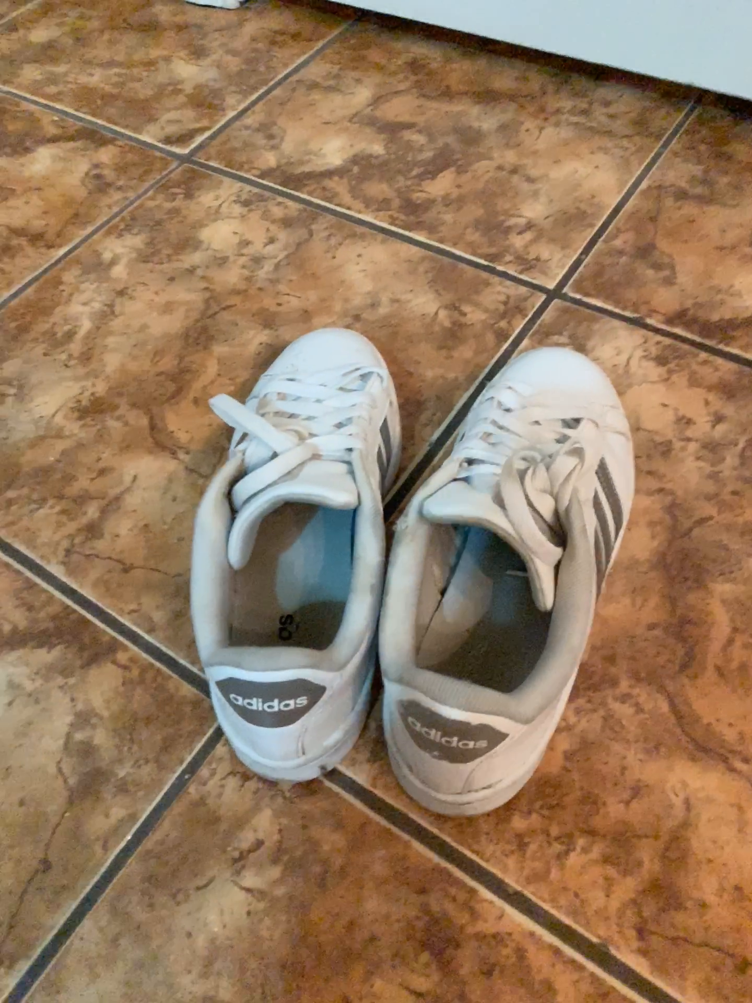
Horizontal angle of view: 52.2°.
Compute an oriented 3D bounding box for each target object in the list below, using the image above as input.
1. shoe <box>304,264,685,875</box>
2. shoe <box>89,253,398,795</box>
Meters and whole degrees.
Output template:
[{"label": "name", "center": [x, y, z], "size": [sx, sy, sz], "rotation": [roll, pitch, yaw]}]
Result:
[{"label": "shoe", "center": [0.068, 0.016, 0.365], "size": [0.101, 0.104, 0.257], "rotation": [13, 56, 15]}, {"label": "shoe", "center": [-0.044, 0.000, 0.387], "size": [0.101, 0.104, 0.257], "rotation": [-1, 54, 5]}]
